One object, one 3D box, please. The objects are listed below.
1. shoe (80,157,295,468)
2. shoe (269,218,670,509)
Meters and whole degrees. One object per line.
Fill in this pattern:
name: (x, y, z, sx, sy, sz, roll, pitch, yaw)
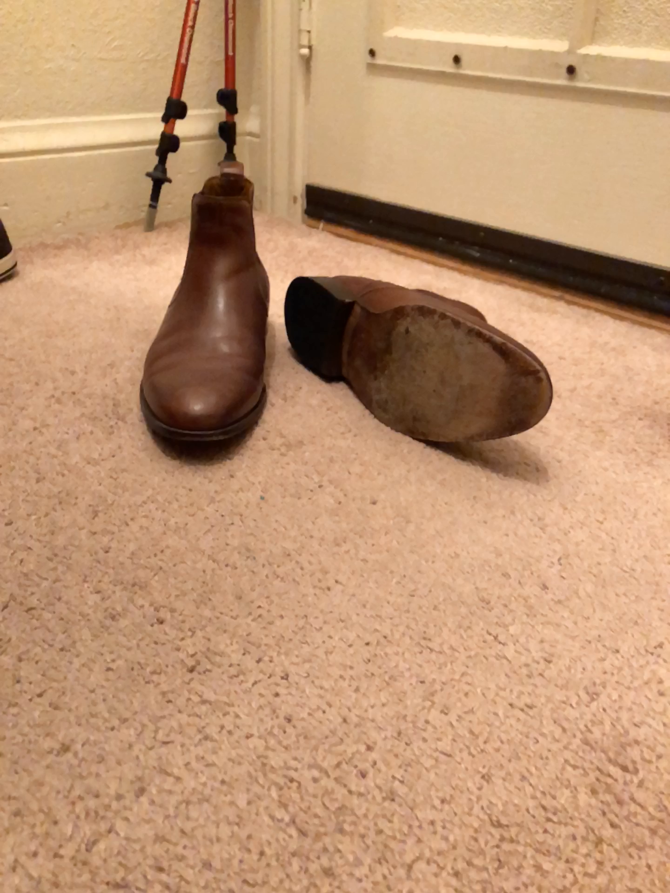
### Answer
shoe: (-0.101, -0.132, 0.625, 0.109, 0.158, 0.298, 3, 31, 0)
shoe: (0.098, -0.095, 0.645, 0.170, 0.118, 0.297, -20, 39, -35)
